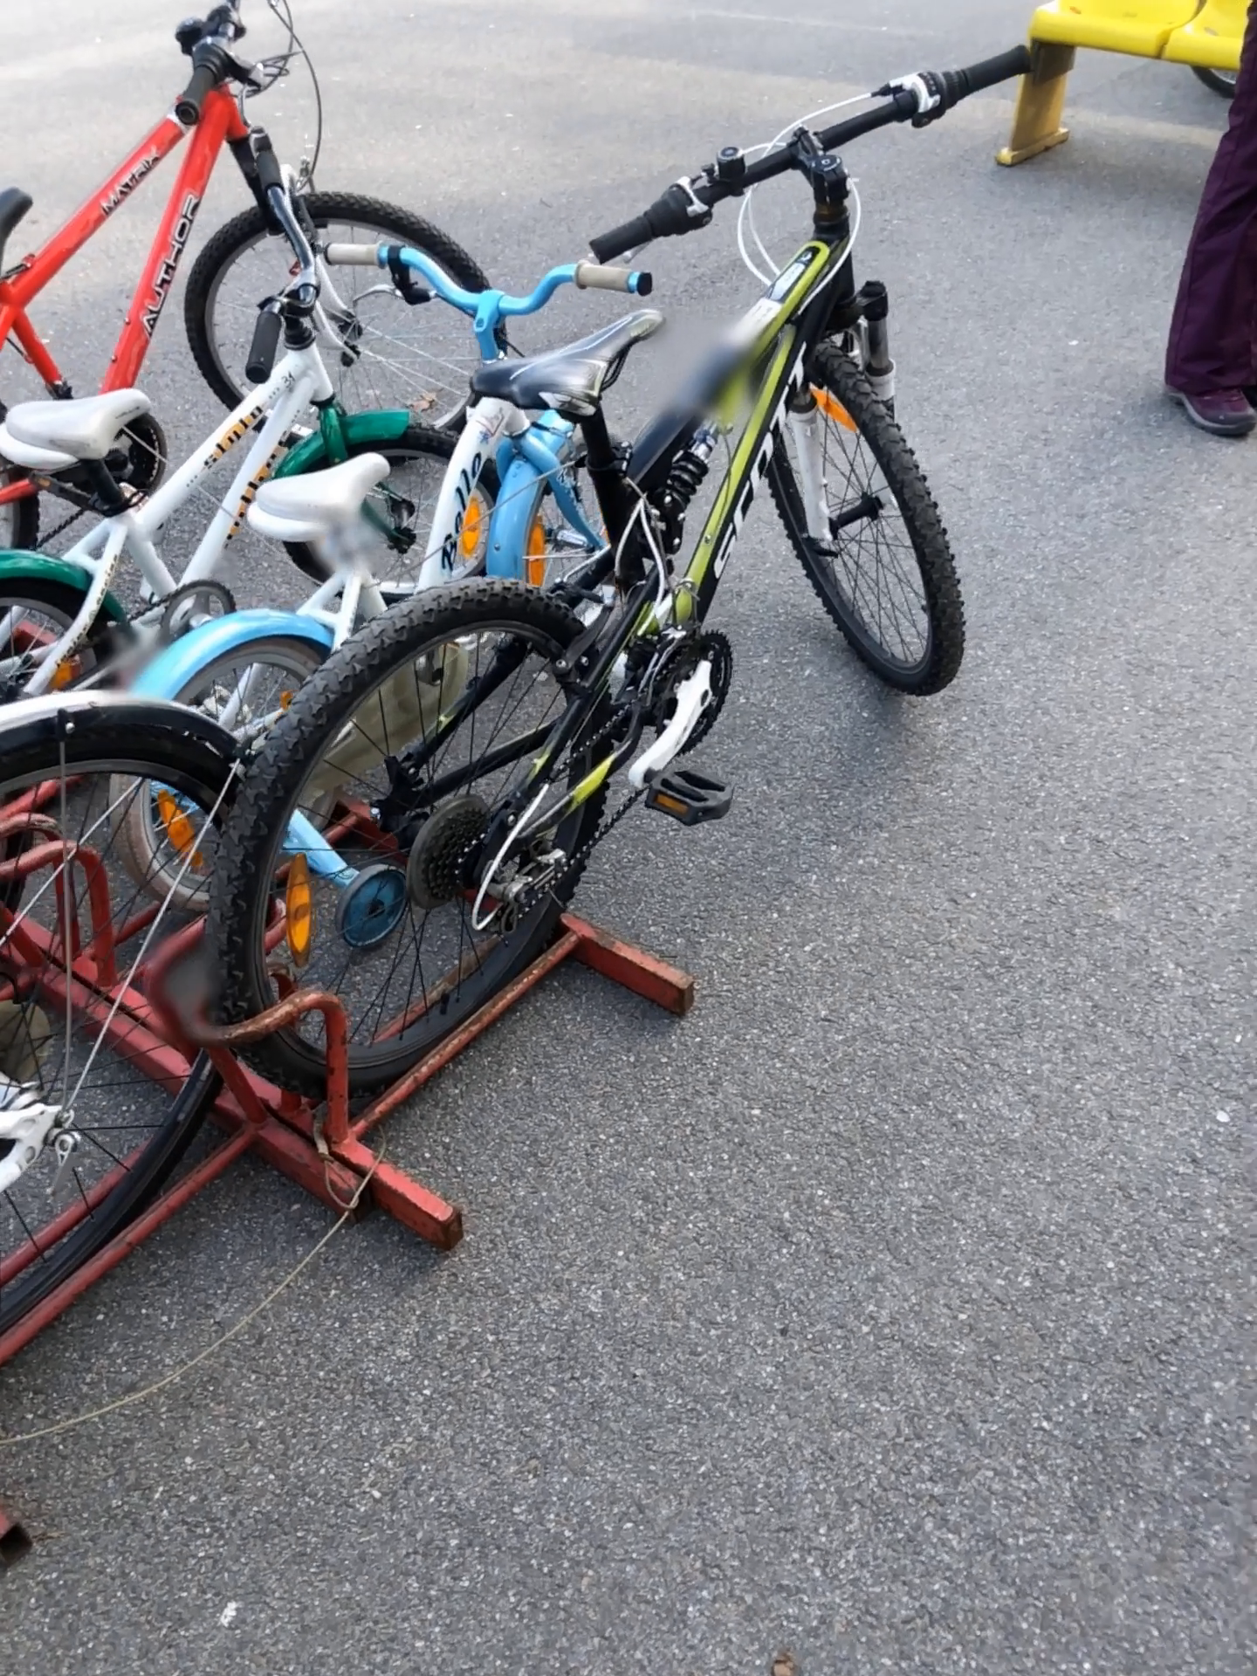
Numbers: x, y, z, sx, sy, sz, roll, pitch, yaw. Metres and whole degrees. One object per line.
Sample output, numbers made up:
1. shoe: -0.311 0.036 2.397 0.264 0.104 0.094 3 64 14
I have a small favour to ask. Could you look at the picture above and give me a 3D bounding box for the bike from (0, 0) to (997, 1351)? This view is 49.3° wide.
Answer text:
1. bike: -0.053 -0.354 1.641 0.529 0.901 1.379 17 43 22
